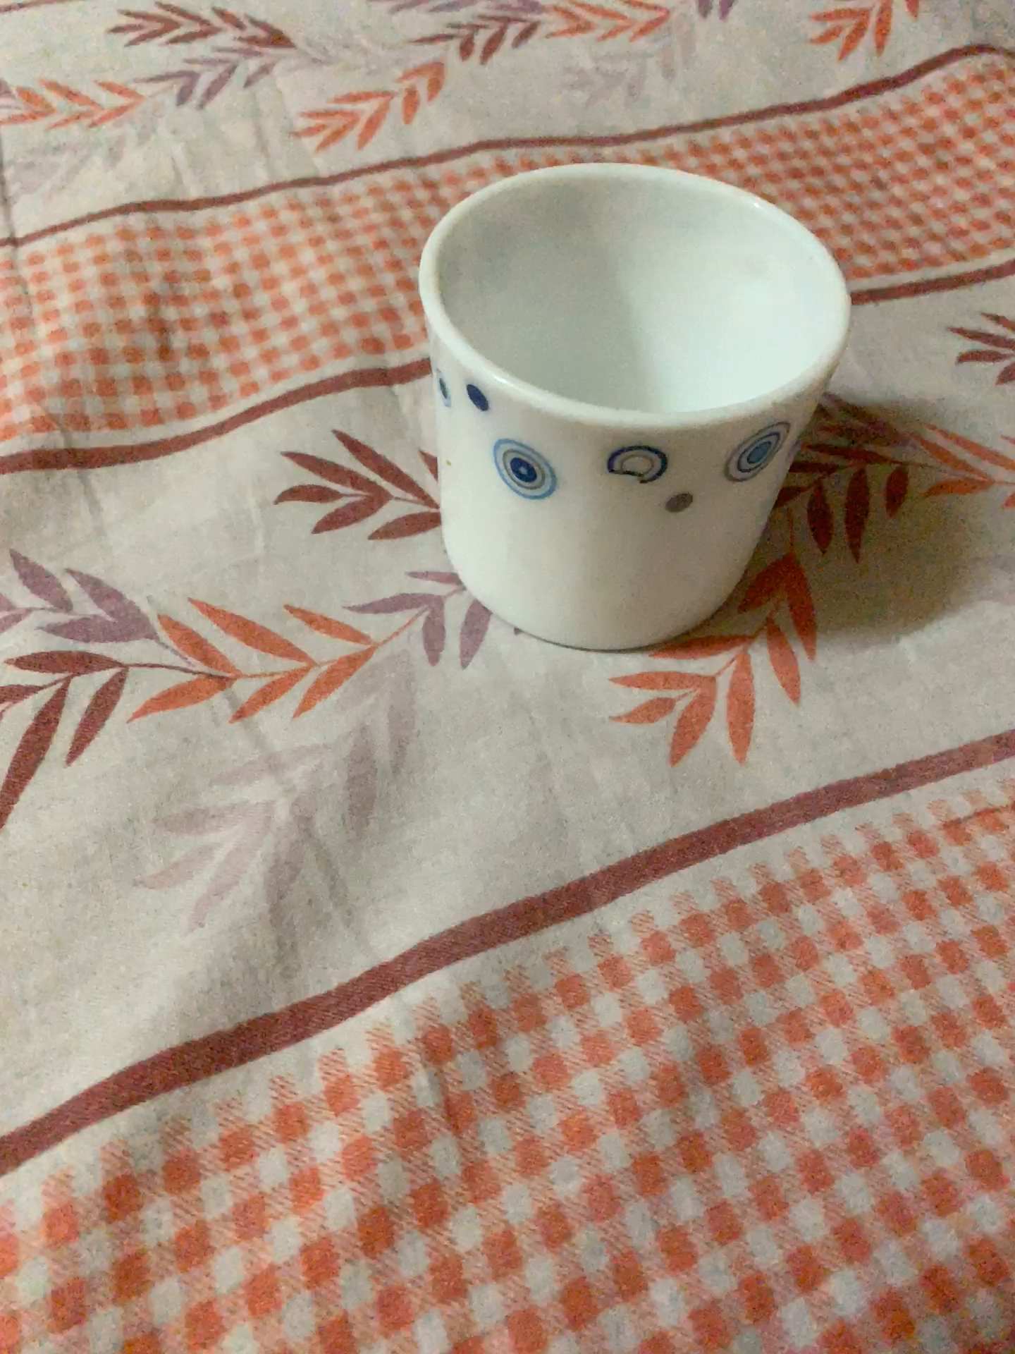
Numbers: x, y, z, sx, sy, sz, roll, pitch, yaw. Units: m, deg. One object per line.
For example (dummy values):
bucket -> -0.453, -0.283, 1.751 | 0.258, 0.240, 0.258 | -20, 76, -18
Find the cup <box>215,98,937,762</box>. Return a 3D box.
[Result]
cup -> 0.011, -0.050, 0.208 | 0.100, 0.070, 0.070 | -27, 60, -21
